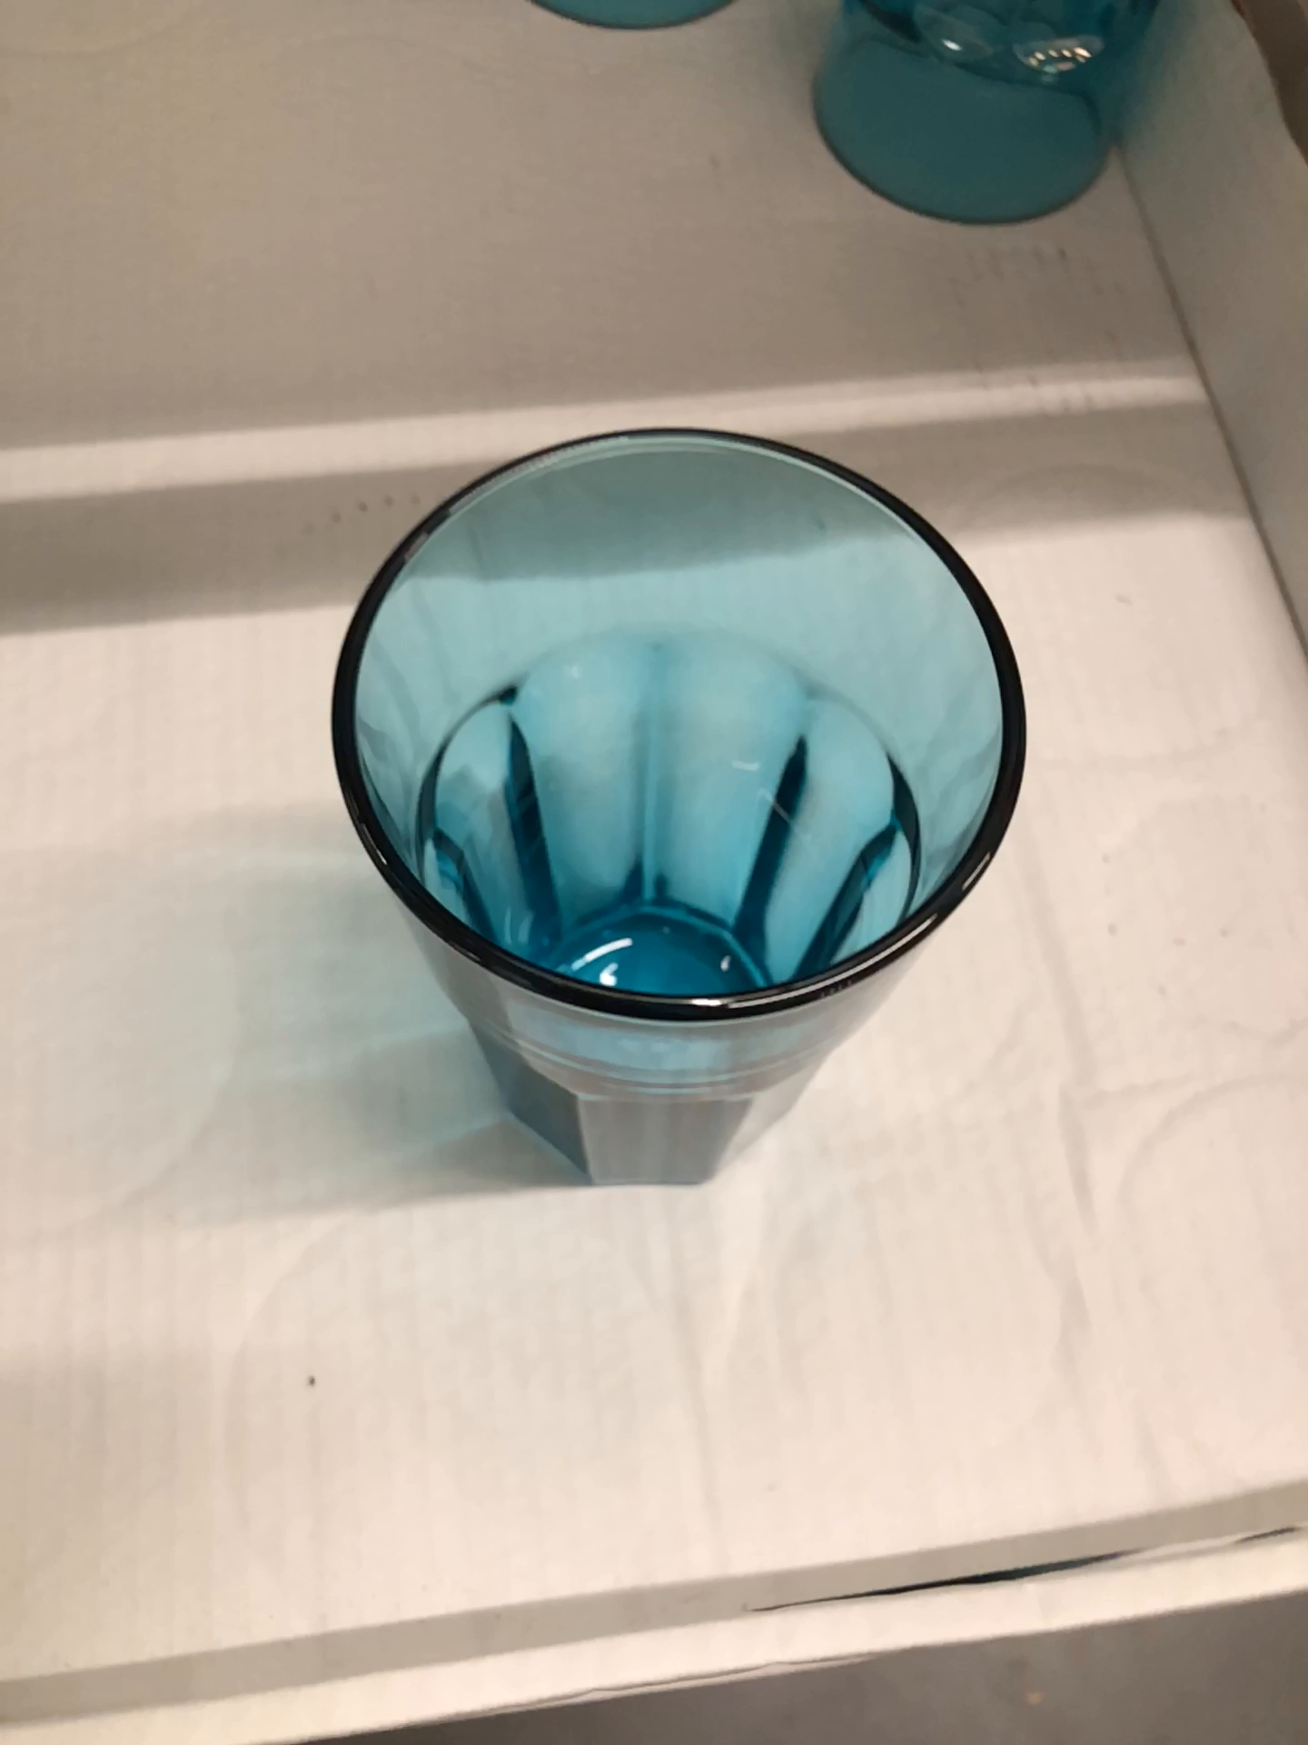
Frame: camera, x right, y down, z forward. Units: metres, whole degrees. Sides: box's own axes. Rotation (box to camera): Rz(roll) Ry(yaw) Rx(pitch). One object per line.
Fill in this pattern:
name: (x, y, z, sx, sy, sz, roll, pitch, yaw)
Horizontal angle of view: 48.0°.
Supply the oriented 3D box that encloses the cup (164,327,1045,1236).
cup: (-0.010, -0.006, 0.214, 0.089, 0.102, 0.092, 1, 66, -3)
